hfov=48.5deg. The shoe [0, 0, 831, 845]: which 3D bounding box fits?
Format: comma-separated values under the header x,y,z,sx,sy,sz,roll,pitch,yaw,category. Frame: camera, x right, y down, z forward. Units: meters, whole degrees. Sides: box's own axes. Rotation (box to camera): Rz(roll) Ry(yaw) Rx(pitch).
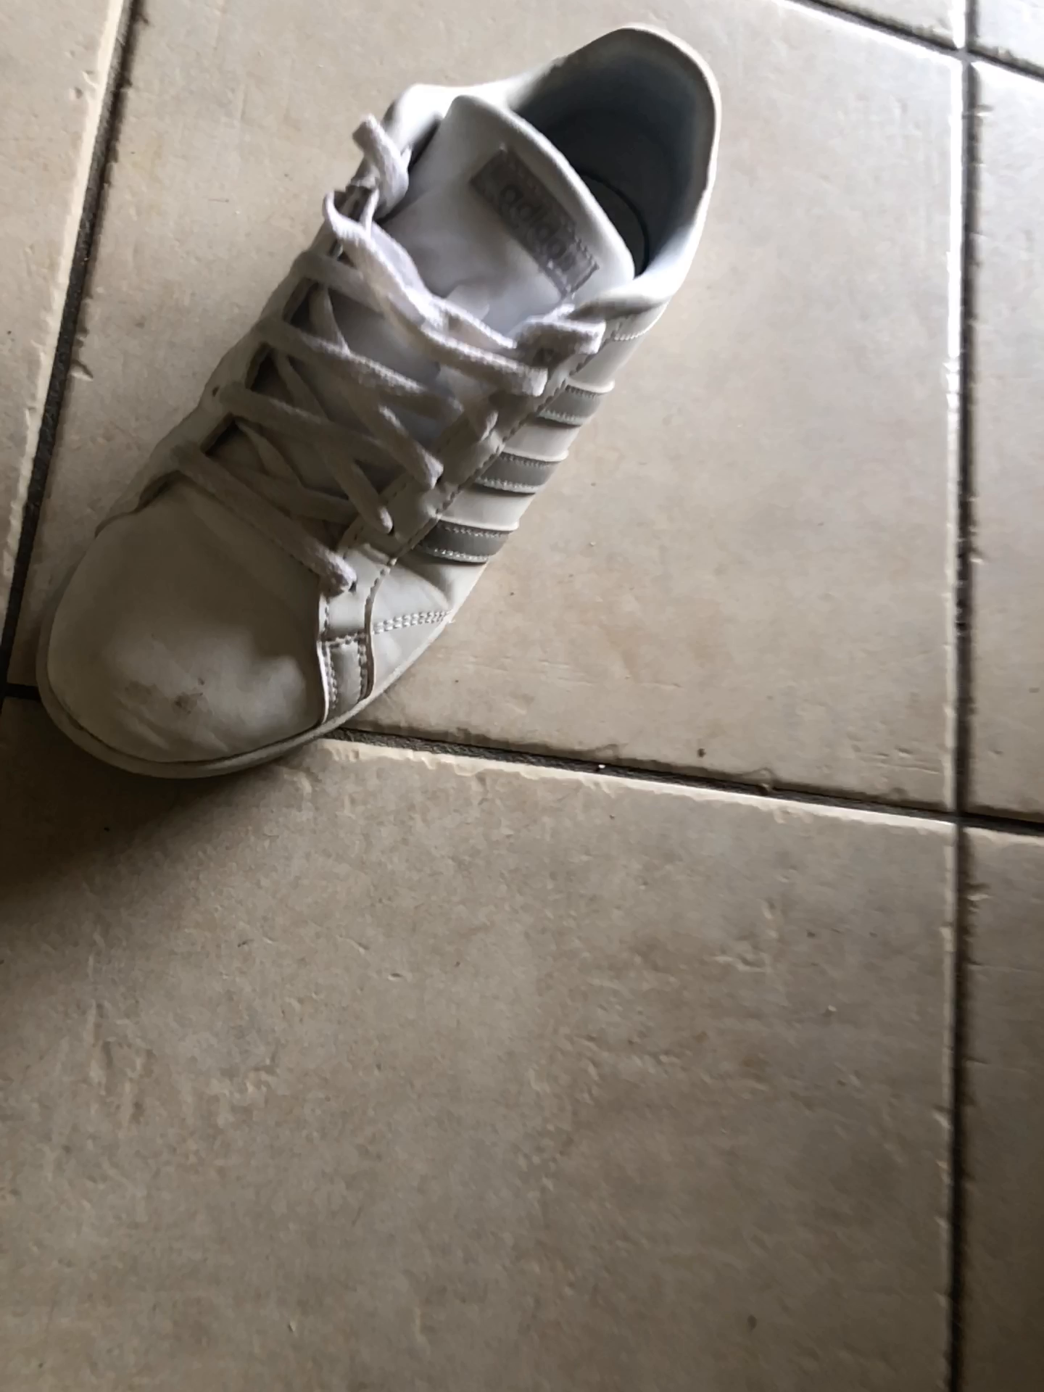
x,y,z,sx,sy,sz,roll,pitch,yaw,category
-0.040,-0.097,0.322,0.090,0.100,0.271,40,70,-7,shoe
